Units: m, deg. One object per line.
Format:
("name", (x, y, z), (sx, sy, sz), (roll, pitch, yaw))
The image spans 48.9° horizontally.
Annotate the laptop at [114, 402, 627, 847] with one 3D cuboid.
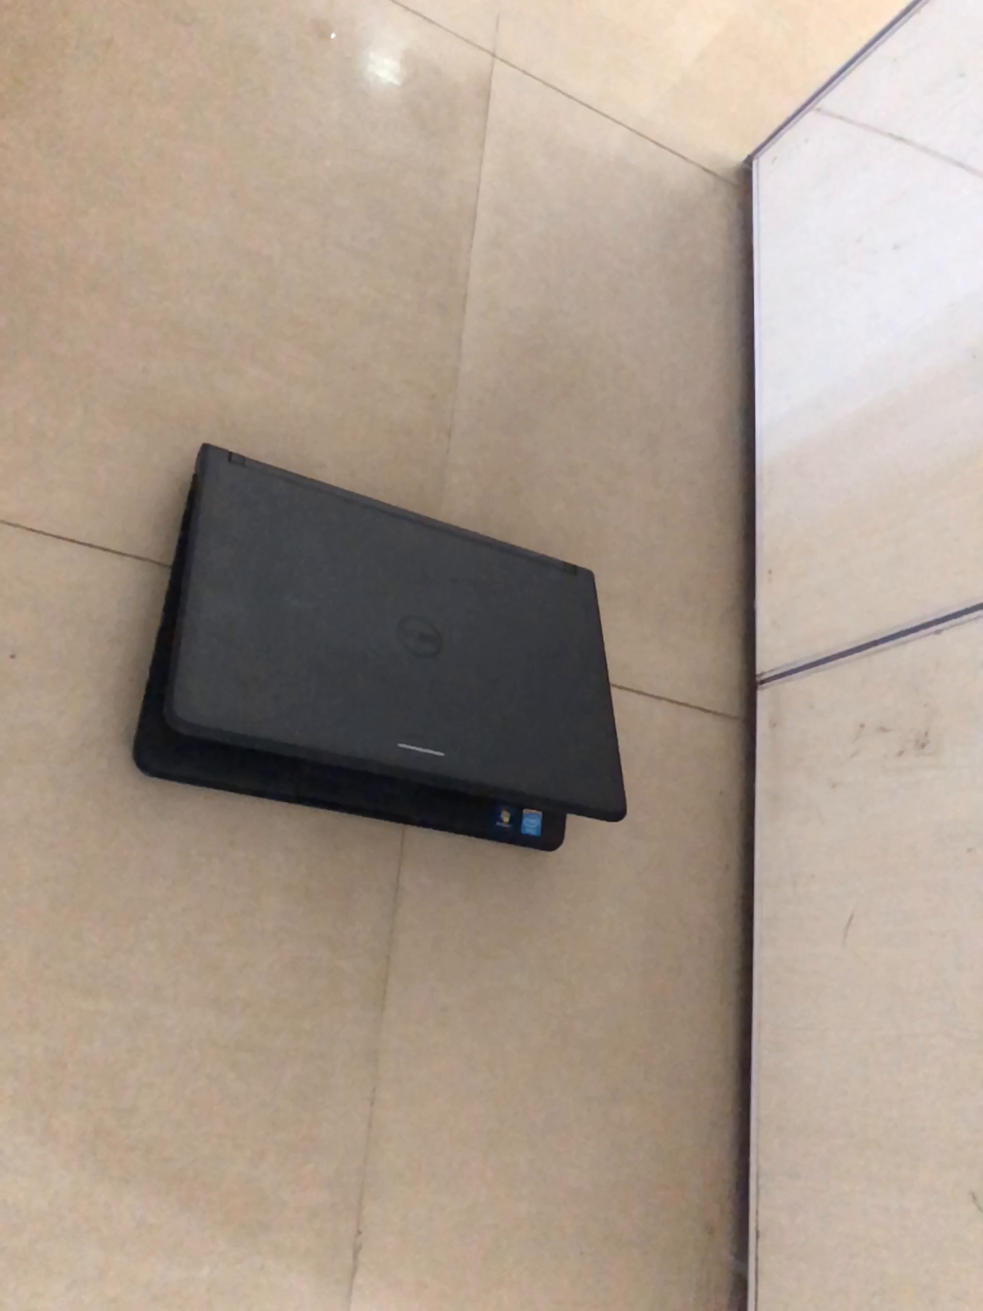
("laptop", (-0.068, -0.009, 0.751), (0.315, 0.064, 0.220), (16, 72, -24))
